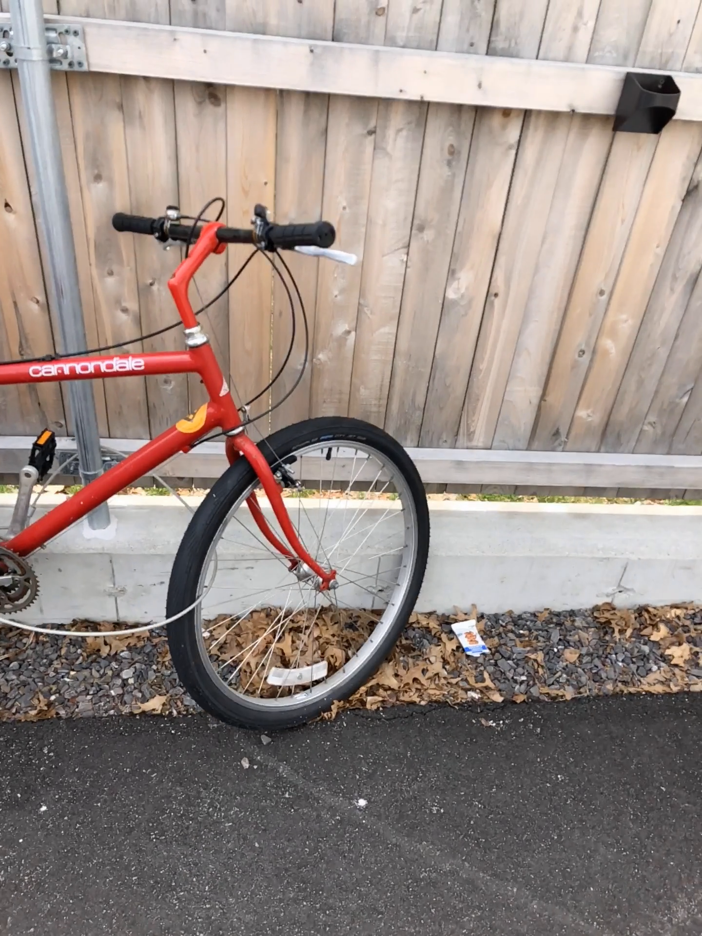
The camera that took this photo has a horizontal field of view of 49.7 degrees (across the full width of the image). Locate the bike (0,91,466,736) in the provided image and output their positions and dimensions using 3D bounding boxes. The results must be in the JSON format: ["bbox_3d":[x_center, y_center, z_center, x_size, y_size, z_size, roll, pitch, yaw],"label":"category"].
[{"bbox_3d":[-0.607,-0.120,1.451,1.474,1.000,0.597,-1,34,-5],"label":"bike"}]
